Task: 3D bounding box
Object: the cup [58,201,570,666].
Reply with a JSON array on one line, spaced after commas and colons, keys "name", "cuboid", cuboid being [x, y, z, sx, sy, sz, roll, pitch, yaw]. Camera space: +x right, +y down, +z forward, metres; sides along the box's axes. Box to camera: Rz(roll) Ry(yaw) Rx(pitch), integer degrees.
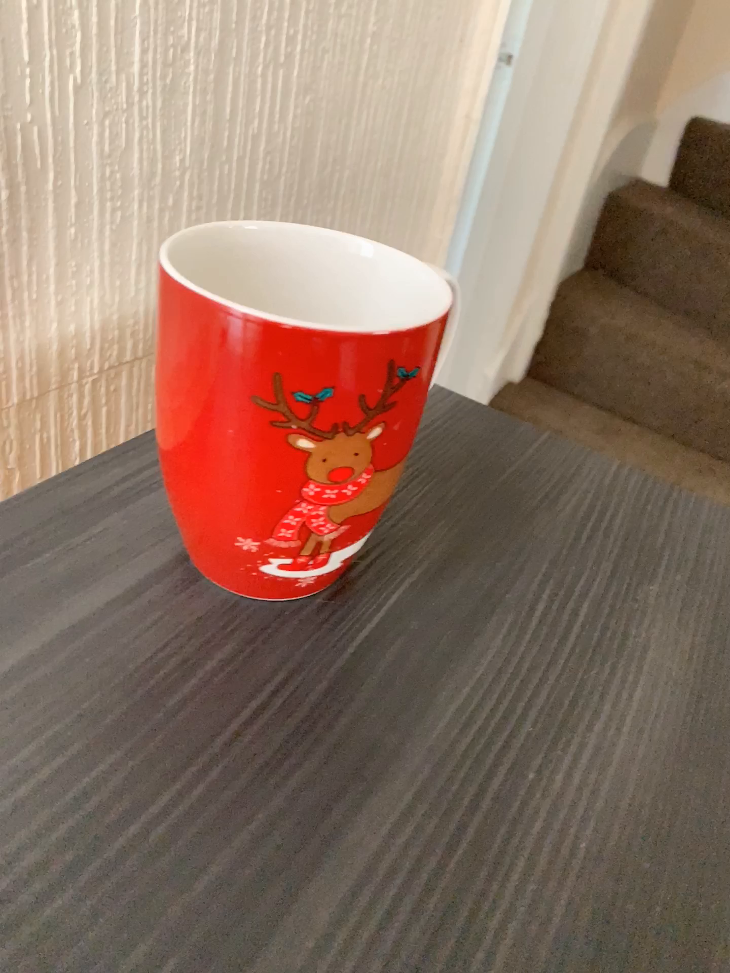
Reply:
[{"name": "cup", "cuboid": [-0.015, -0.031, 0.249, 0.090, 0.089, 0.131, 31, 37, 26]}]
